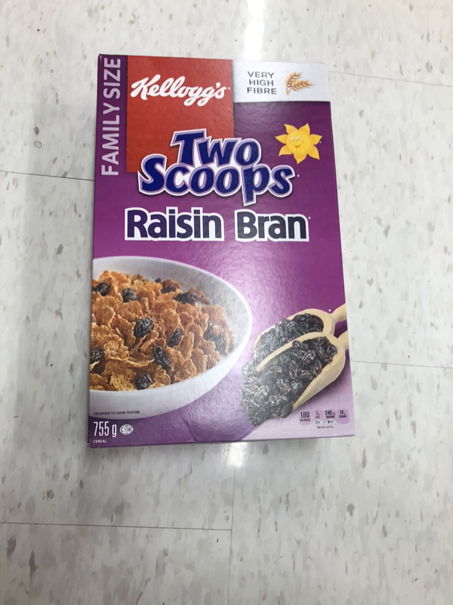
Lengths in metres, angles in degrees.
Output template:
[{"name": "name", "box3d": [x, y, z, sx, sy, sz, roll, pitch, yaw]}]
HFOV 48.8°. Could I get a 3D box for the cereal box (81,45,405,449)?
[{"name": "cereal box", "box3d": [0.006, -0.045, 0.405, 0.220, 0.080, 0.300, -1, 78, -7]}]
